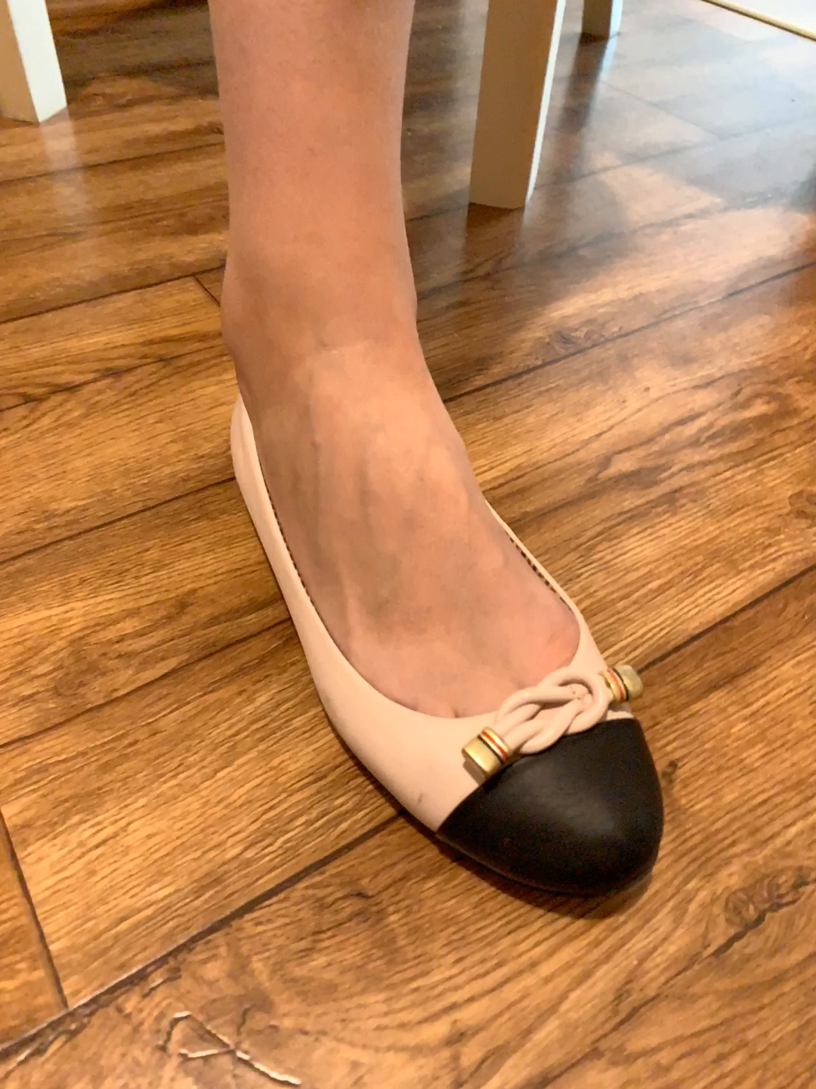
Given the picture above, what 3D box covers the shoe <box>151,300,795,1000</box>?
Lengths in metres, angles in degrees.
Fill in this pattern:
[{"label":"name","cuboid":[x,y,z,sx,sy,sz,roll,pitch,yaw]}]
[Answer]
[{"label":"shoe","cuboid":[-0.001,0.009,0.269,0.083,0.059,0.221,-21,51,-22]}]
